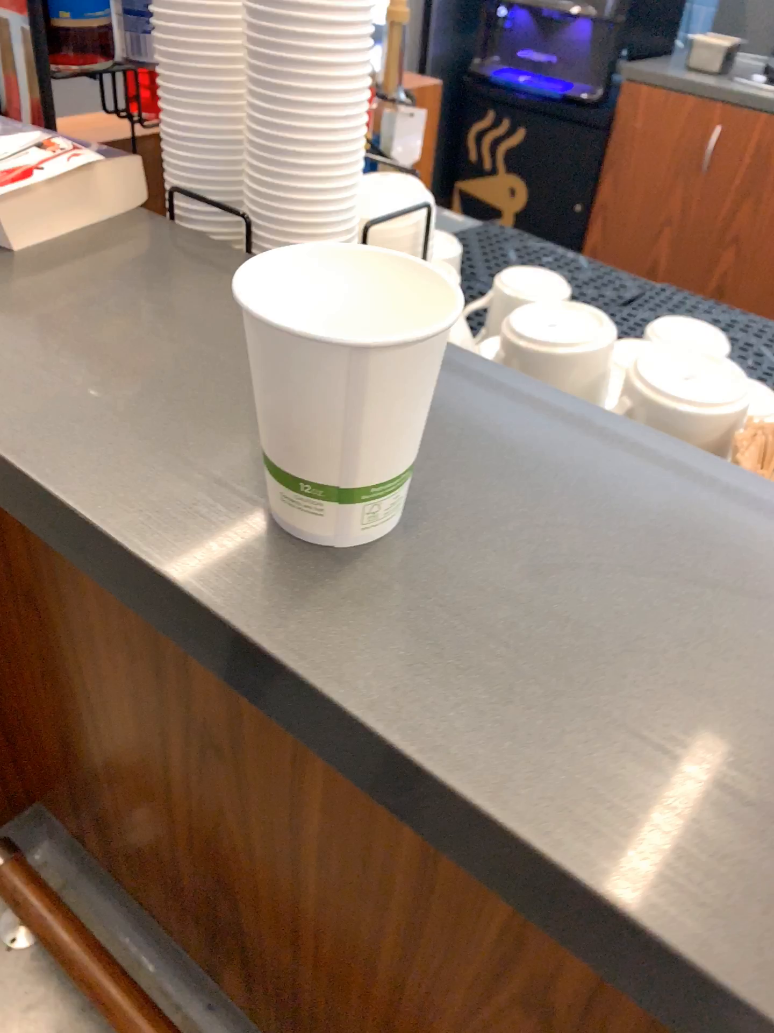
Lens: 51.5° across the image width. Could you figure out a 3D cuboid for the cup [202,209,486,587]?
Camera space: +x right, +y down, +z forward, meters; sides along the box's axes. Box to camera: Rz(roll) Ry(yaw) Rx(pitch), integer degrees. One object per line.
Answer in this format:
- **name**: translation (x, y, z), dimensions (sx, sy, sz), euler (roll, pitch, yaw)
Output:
- **cup**: translation (-0.019, -0.052, 0.344), dimensions (0.080, 0.119, 0.080), euler (4, 38, -3)
